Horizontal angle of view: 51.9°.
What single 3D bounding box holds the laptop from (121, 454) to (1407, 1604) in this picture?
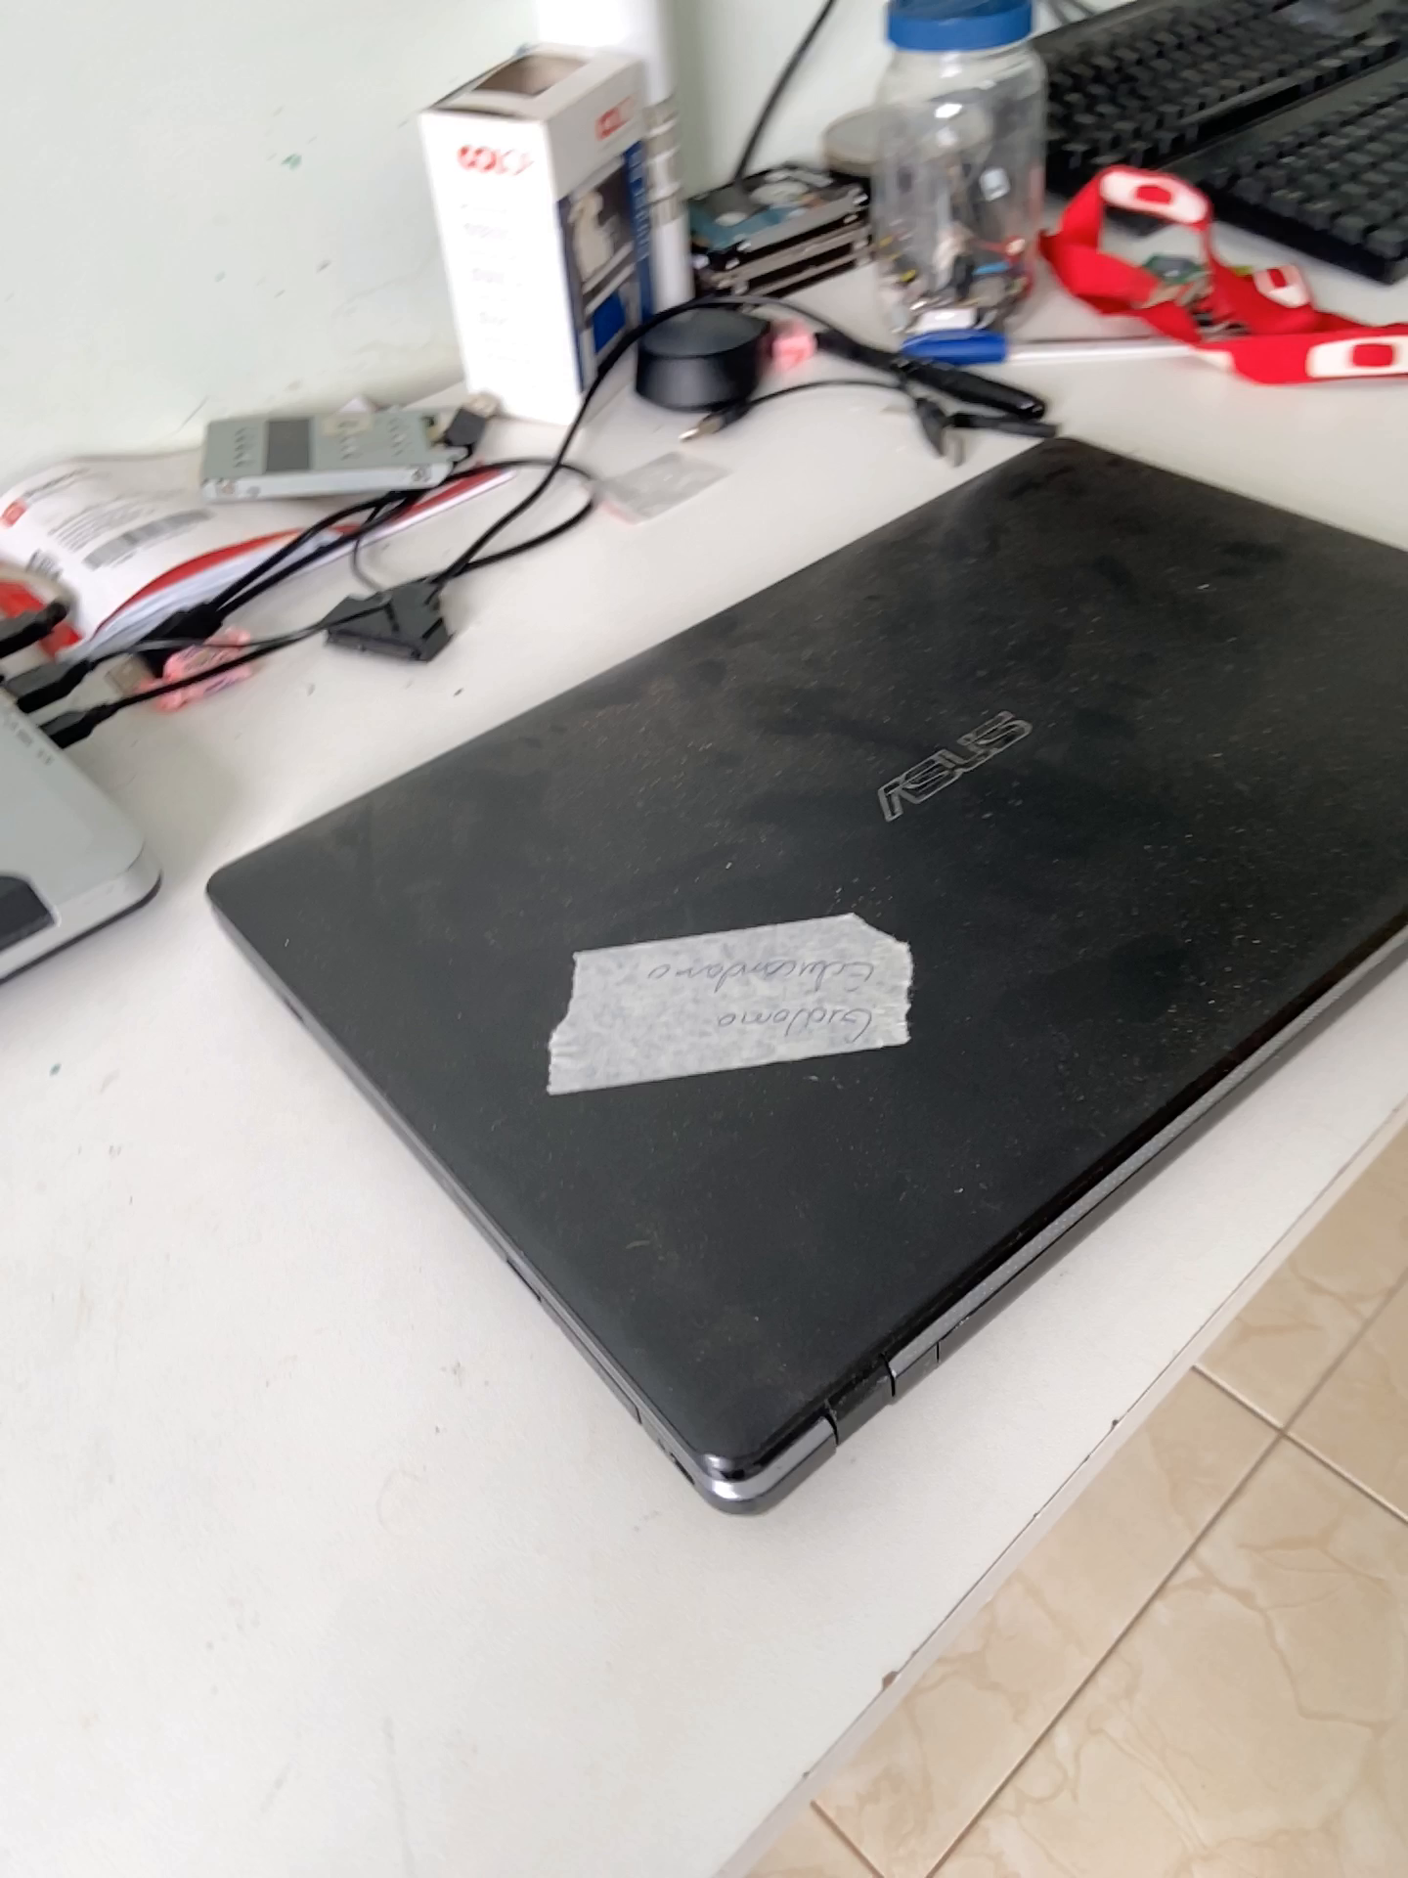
[{"bbox_3d":[0.052,-0.034,0.429,0.386,0.007,0.251,-32,48,-23],"label":"laptop"}]
